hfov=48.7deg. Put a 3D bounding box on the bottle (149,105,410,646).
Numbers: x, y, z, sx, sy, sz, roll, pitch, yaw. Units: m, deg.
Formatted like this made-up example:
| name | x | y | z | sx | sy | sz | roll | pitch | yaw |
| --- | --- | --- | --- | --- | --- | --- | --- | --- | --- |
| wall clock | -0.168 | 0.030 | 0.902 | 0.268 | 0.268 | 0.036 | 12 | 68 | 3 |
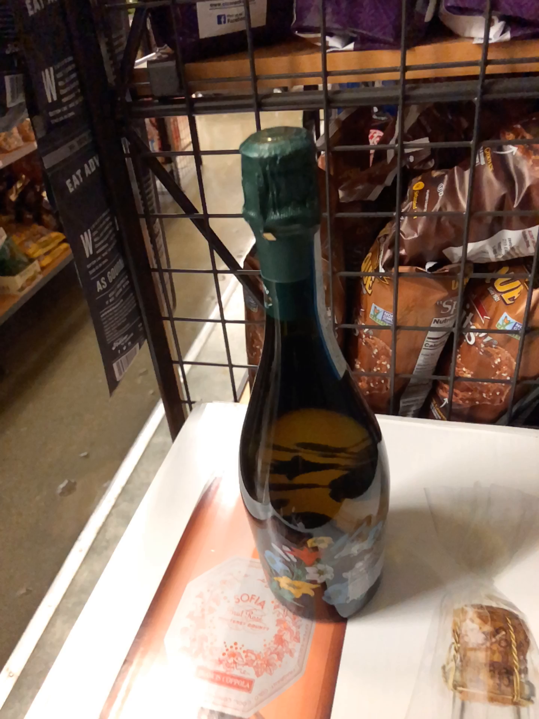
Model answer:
| name | x | y | z | sx | sy | sz | roll | pitch | yaw |
| --- | --- | --- | --- | --- | --- | --- | --- | --- | --- |
| bottle | 0.023 | 0.027 | 0.336 | 0.090 | 0.299 | 0.090 | -4 | 34 | 3 |
